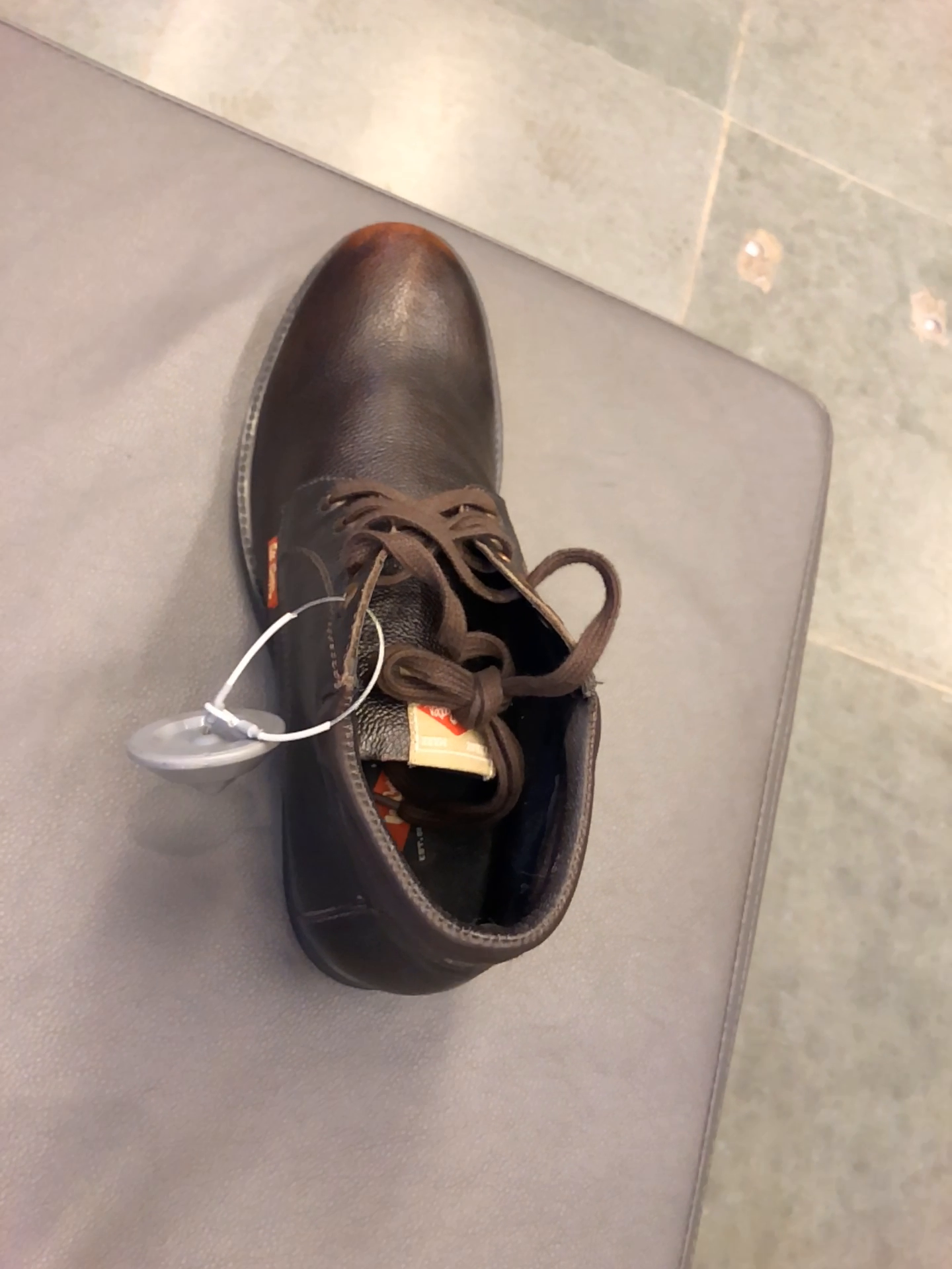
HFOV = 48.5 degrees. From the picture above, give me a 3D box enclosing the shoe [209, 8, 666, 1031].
[{"bbox_3d":[-0.030,-0.025,0.386,0.108,0.177,0.299,4,74,-17],"label":"shoe"}]
